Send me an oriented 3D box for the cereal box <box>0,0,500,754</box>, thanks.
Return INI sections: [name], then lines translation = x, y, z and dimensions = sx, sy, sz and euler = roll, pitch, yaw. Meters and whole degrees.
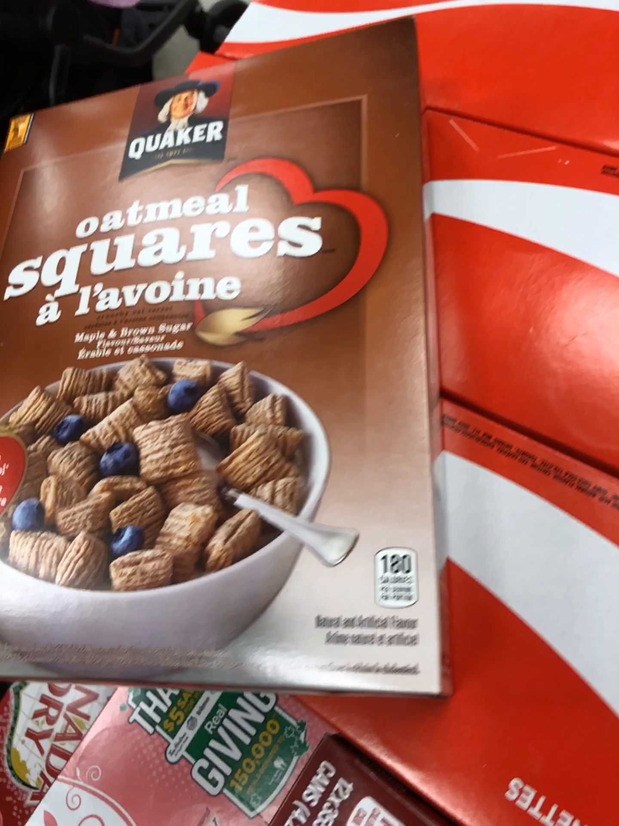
[cereal box]
translation = -0.061, -0.036, 0.273
dimensions = 0.240, 0.050, 0.290
euler = -5, 67, 17
